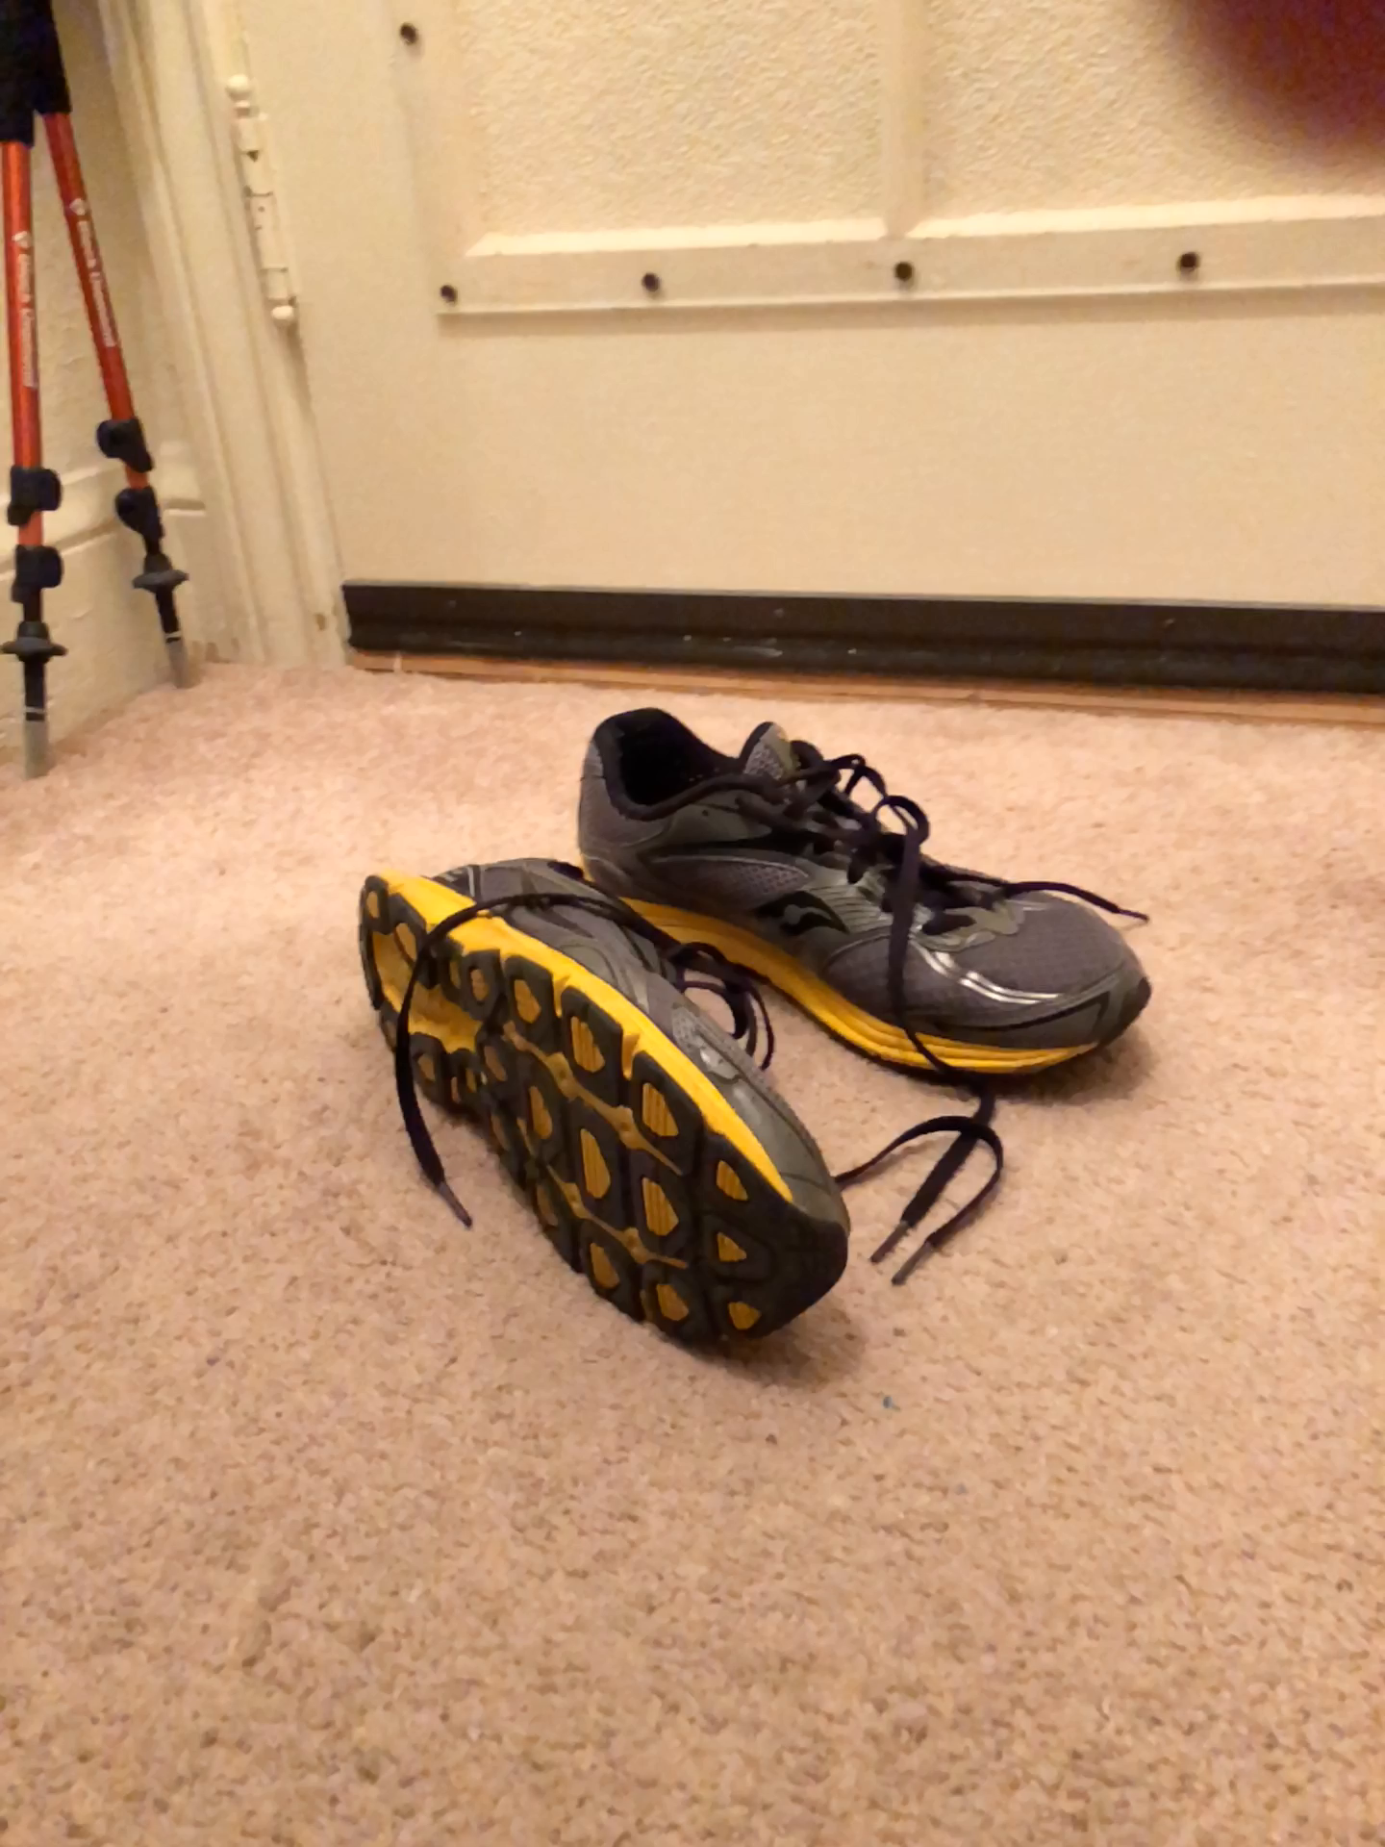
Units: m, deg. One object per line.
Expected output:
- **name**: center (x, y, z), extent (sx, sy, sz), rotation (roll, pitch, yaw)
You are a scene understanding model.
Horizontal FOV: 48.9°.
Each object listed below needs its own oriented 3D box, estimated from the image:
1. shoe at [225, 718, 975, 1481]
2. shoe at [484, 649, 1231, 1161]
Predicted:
- **shoe**: center (-0.046, 0.035, 0.536), extent (0.109, 0.117, 0.294), rotation (-24, 34, -28)
- **shoe**: center (0.056, -0.025, 0.627), extent (0.284, 0.098, 0.118), rotation (22, 38, 40)
